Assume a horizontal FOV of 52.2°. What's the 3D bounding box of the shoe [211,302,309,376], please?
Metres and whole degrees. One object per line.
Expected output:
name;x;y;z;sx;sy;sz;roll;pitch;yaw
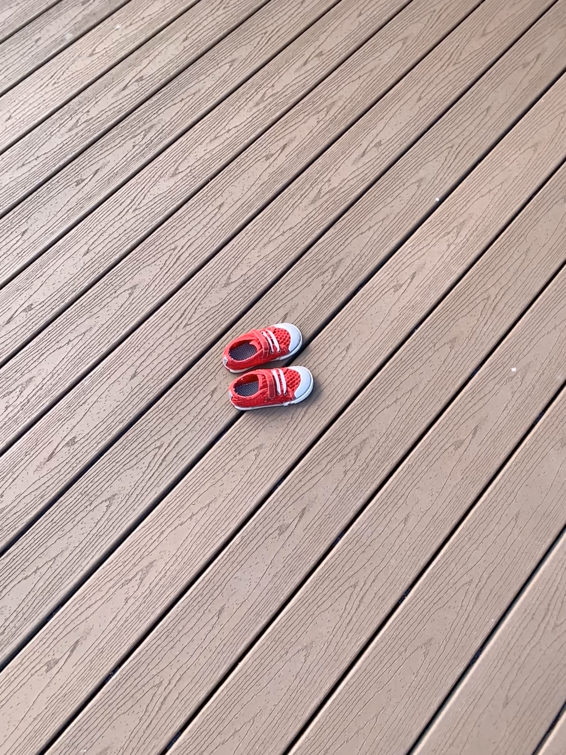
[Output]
shoe;-0.047;-0.080;1.203;0.180;0.060;0.090;-17;69;-5

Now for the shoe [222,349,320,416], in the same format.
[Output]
shoe;-0.023;0.010;1.162;0.180;0.060;0.090;-10;69;-2
